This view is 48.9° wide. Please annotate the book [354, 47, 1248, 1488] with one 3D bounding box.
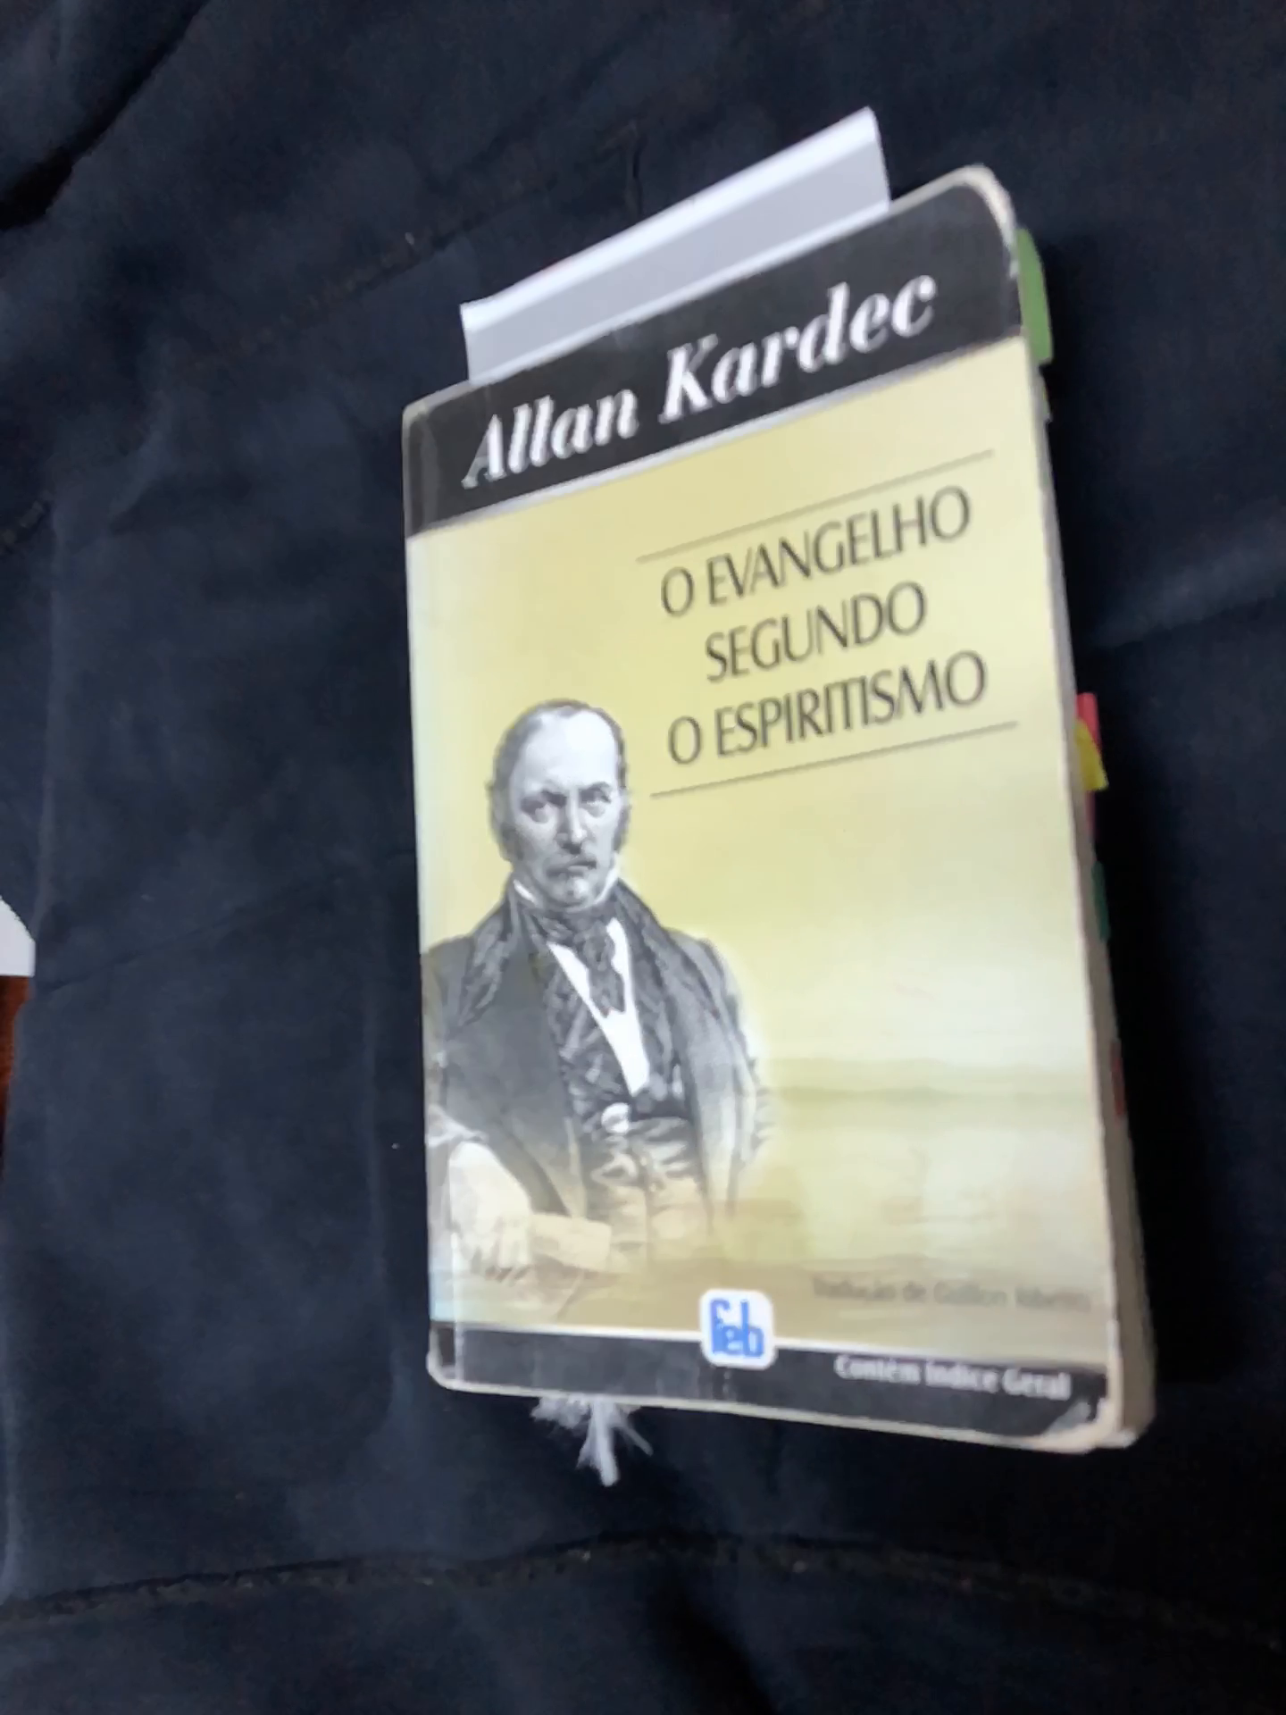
[{"bbox_3d":[0.017,-0.010,0.274,0.151,0.050,0.220,-11,77,36],"label":"book"}]
